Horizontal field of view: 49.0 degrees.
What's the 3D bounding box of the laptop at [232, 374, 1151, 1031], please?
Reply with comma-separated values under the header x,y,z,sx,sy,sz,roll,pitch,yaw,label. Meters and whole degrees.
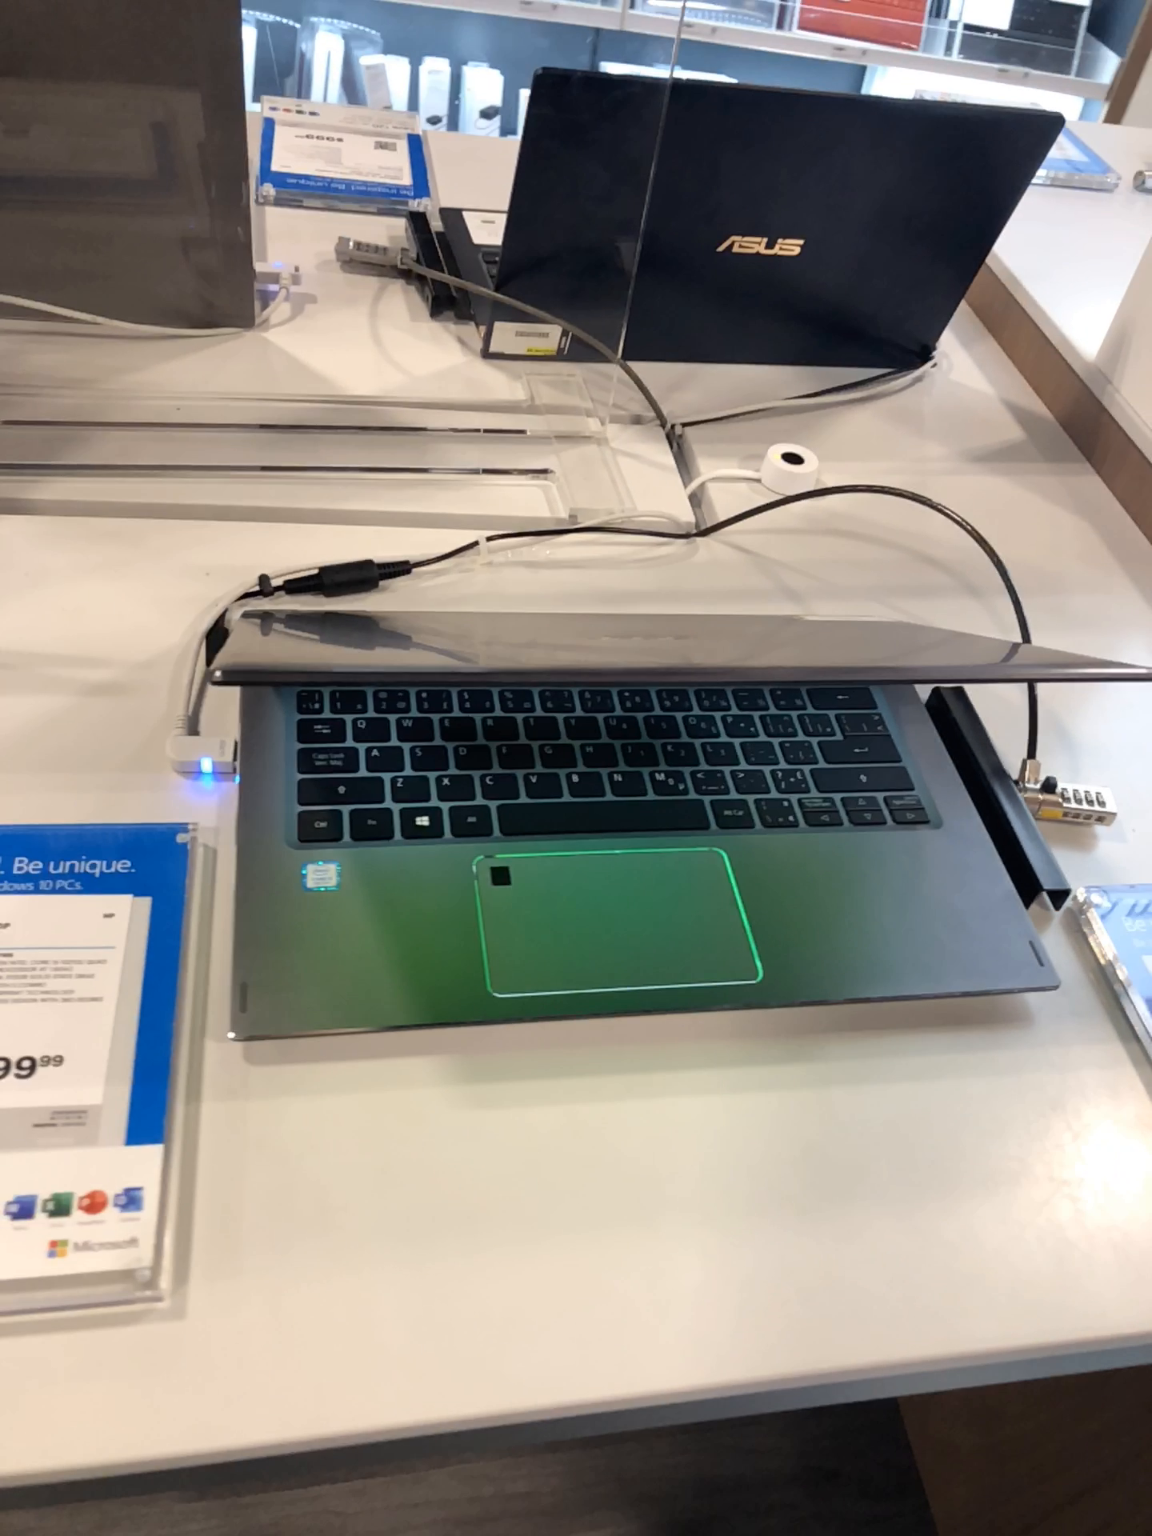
x,y,z,sx,sy,sz,roll,pitch,yaw,label
0.031,-0.034,0.483,0.301,0.123,0.212,-1,46,-12,laptop
